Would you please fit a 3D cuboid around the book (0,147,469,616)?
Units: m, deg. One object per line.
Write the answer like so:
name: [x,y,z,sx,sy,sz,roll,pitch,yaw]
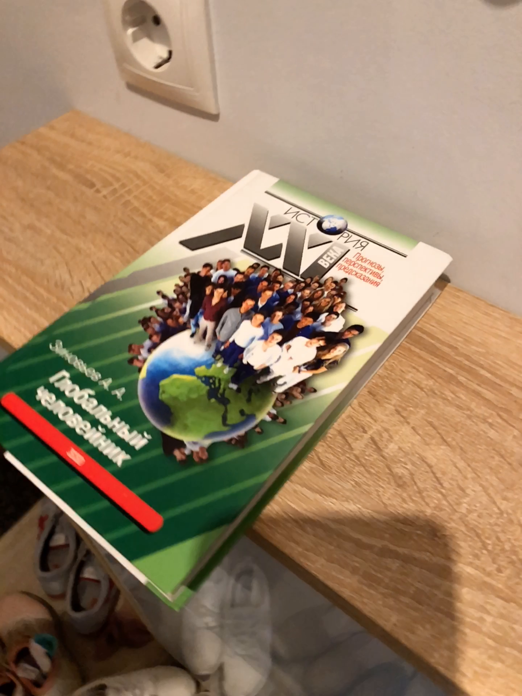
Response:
book: [-0.018,-0.014,0.275,0.140,0.020,0.221,31,58,24]
